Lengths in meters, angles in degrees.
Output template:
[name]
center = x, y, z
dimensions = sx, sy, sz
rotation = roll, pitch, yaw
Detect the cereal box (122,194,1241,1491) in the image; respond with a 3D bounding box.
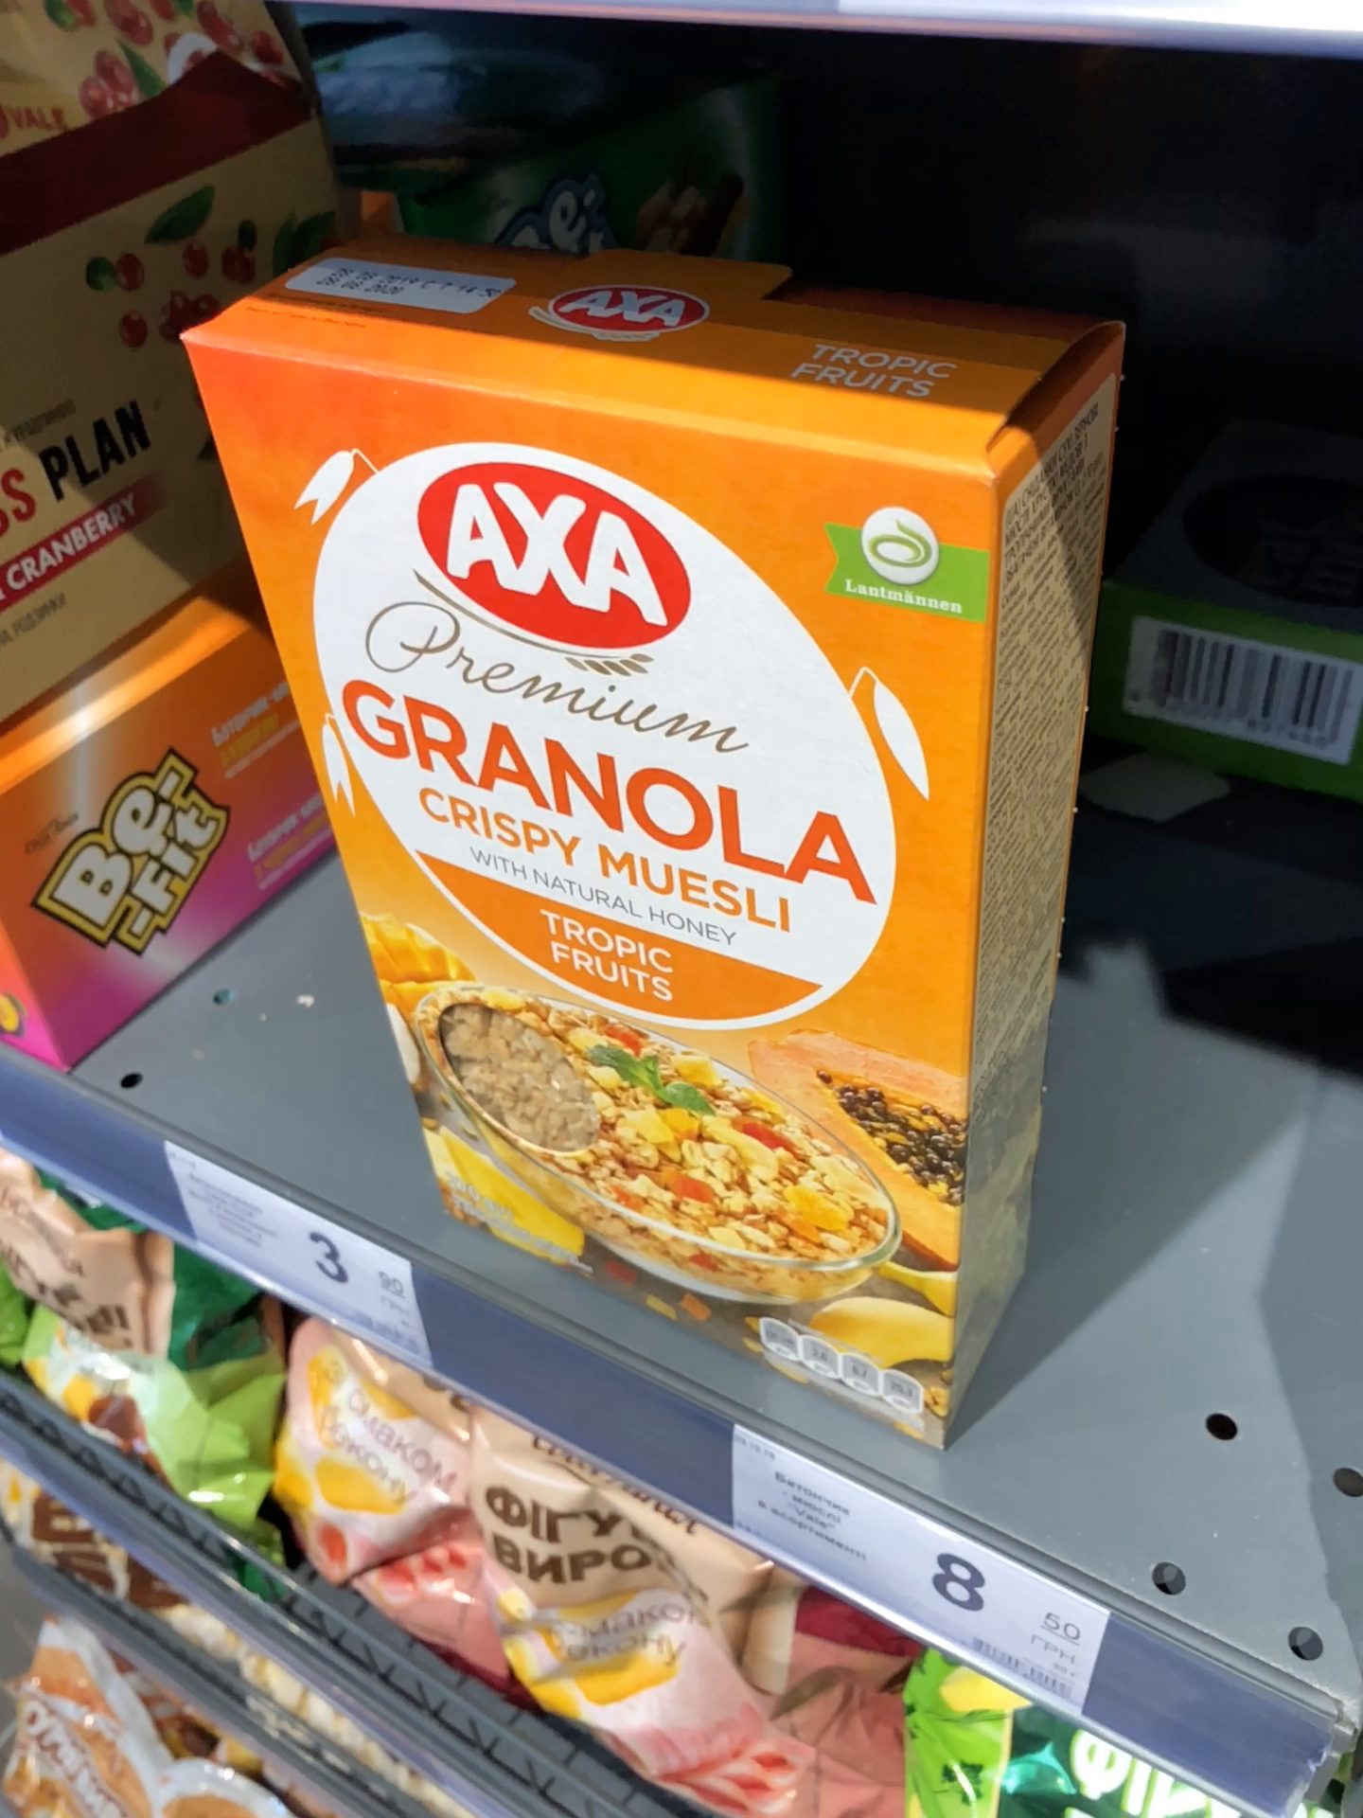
[cereal box]
center = 0.003, -0.001, 0.268
dimensions = 0.140, 0.208, 0.050
rotation = 18, 47, 25
